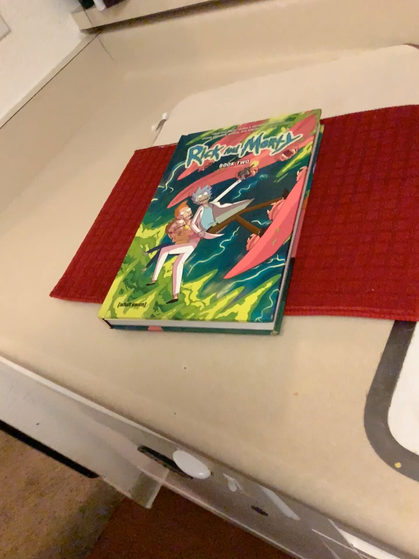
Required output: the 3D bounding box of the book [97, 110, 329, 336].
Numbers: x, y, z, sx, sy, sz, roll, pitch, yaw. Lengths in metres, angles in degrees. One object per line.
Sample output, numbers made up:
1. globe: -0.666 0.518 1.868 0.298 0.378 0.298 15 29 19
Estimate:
1. book: 0.015 -0.076 0.541 0.200 0.030 0.300 -1 52 28
